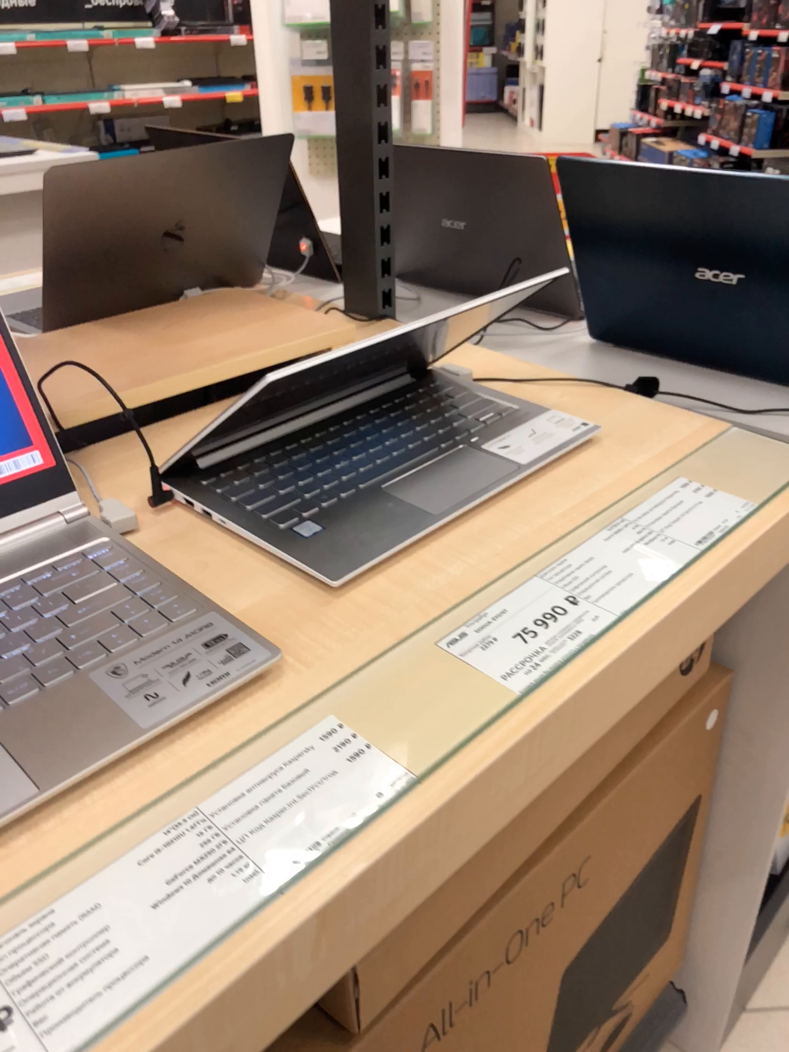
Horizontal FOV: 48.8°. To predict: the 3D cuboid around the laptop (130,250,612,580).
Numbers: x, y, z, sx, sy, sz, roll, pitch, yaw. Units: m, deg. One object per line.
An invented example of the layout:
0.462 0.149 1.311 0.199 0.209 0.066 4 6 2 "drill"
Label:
-0.006 -0.110 0.675 0.197 0.119 0.310 25 39 37 "laptop"
